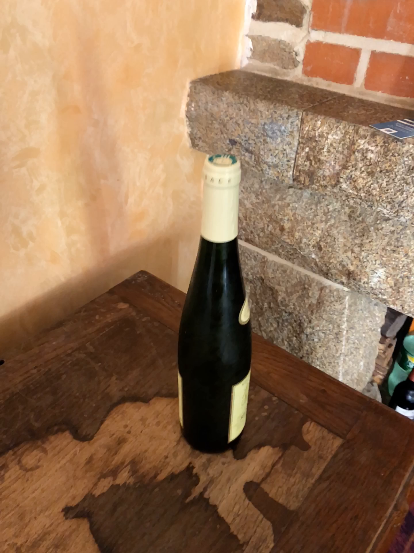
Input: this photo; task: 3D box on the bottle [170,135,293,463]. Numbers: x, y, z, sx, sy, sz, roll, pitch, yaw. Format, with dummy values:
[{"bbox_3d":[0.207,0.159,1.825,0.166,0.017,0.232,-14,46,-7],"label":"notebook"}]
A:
[{"bbox_3d":[0.015,0.041,0.431,0.080,0.318,0.081,2,36,-1],"label":"bottle"}]
